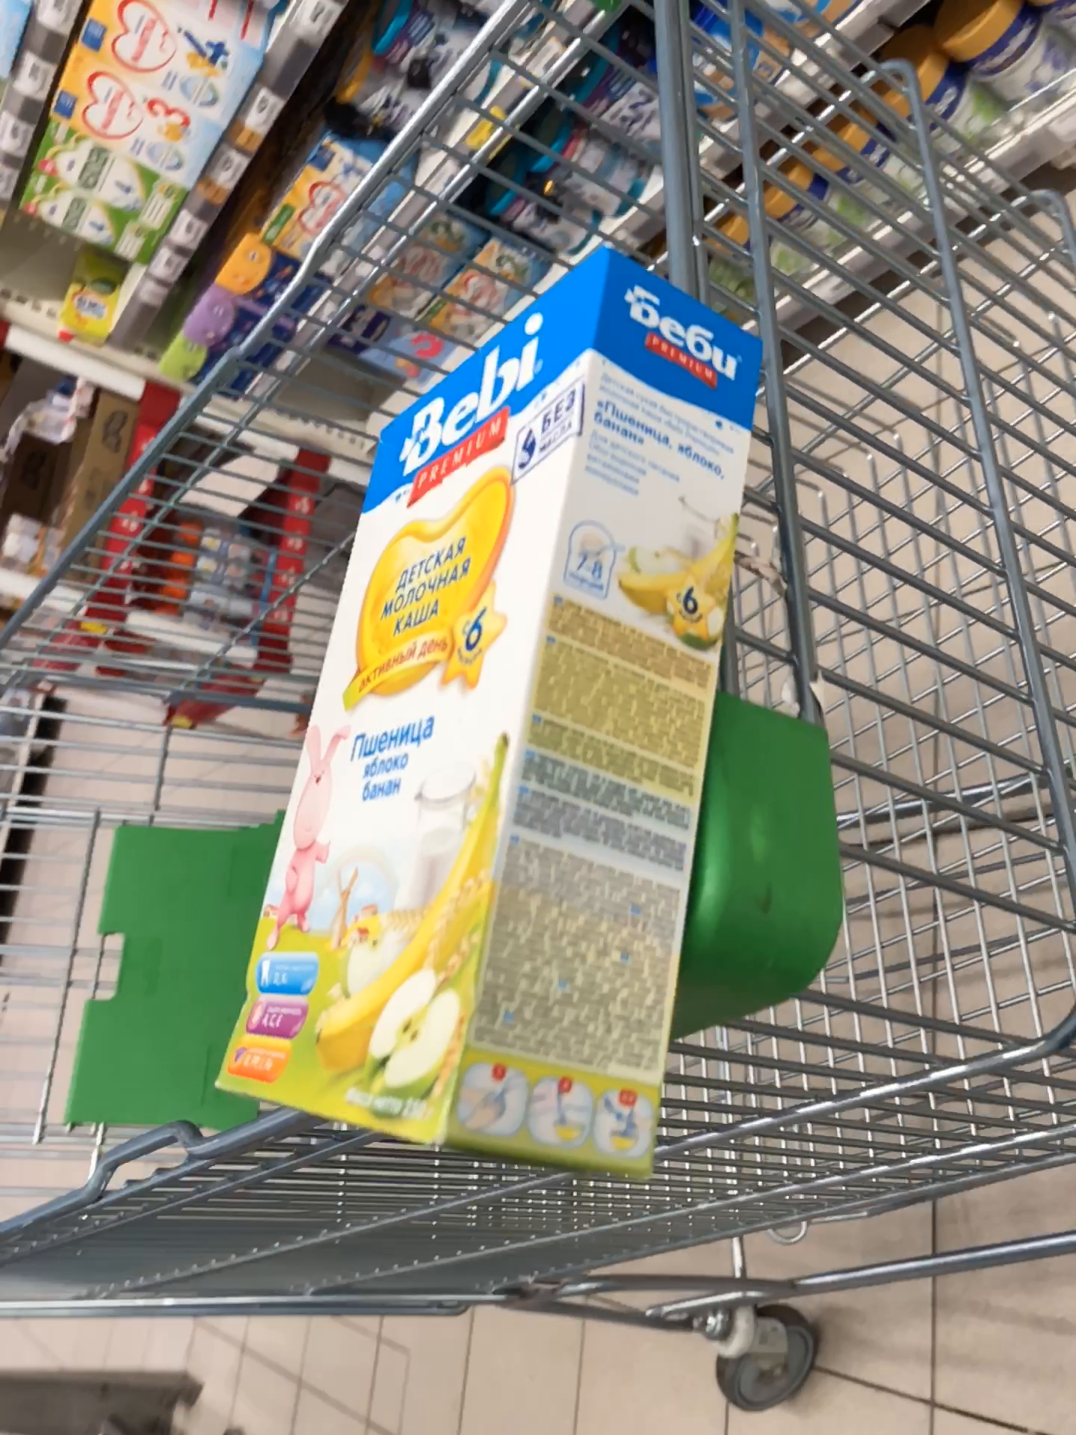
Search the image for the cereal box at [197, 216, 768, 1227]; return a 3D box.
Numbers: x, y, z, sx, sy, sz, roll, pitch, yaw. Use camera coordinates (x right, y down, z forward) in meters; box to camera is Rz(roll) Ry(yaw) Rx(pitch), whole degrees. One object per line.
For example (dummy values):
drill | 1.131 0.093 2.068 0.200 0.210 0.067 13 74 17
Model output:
cereal box | -0.017 0.003 0.303 0.131 0.050 0.210 -18 56 57
